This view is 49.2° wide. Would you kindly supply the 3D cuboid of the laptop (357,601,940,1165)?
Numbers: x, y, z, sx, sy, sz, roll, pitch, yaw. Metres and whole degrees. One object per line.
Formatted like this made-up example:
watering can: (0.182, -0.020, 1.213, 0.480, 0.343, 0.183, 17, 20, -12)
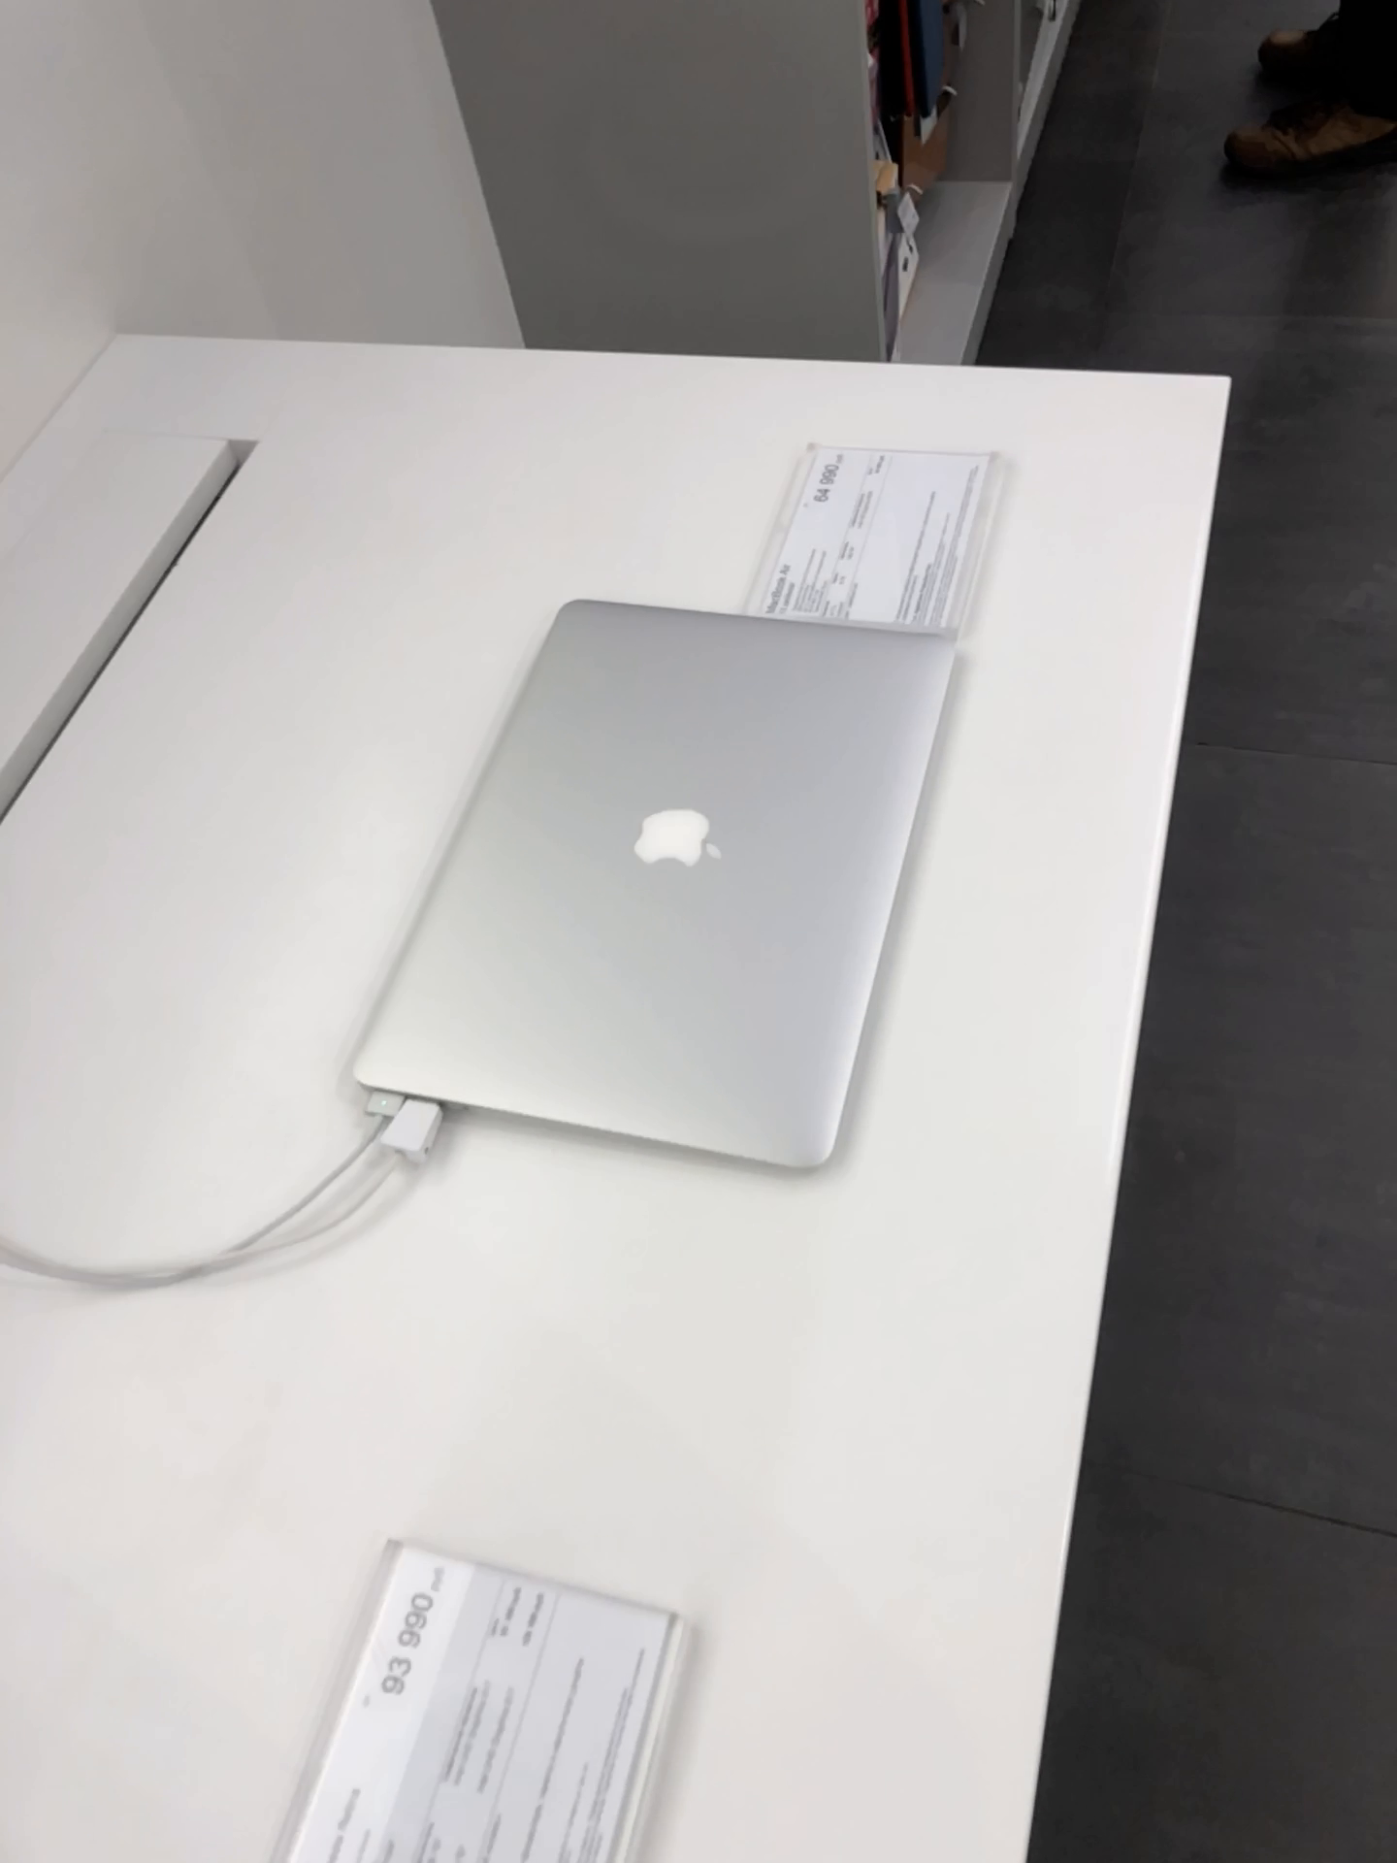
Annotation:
laptop: (-0.013, -0.043, 0.753, 0.209, 0.008, 0.308, 9, 56, 14)
